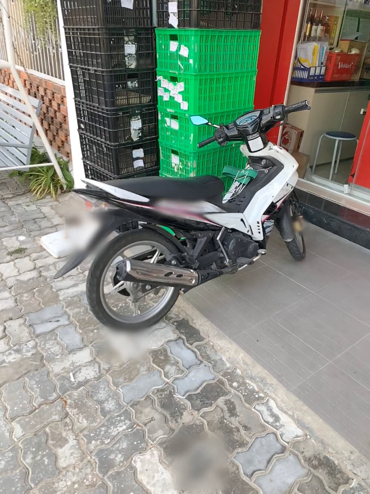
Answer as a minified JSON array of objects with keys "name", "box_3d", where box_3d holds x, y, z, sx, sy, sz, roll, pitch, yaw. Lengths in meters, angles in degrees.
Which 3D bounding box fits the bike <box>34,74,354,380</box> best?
[{"name":"bike","box_3d":[0.157,-0.319,2.316,1.818,1.186,0.669,-24,38,-36]}]
